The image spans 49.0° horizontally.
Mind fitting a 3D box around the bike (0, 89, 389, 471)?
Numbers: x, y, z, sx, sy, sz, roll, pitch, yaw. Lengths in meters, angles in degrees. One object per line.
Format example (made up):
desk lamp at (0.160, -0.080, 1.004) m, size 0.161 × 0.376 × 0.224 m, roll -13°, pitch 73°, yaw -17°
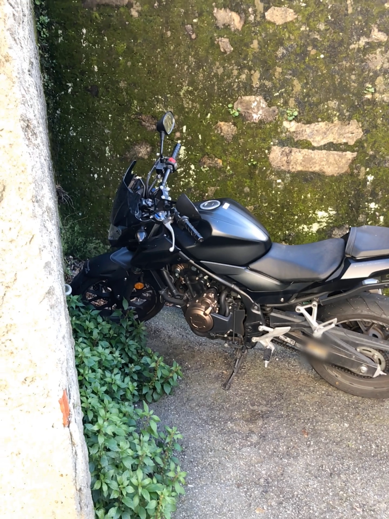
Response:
bike at (0.132, 0.006, 1.963) m, size 1.783 × 1.198 × 0.714 m, roll 9°, pitch 21°, yaw 8°
